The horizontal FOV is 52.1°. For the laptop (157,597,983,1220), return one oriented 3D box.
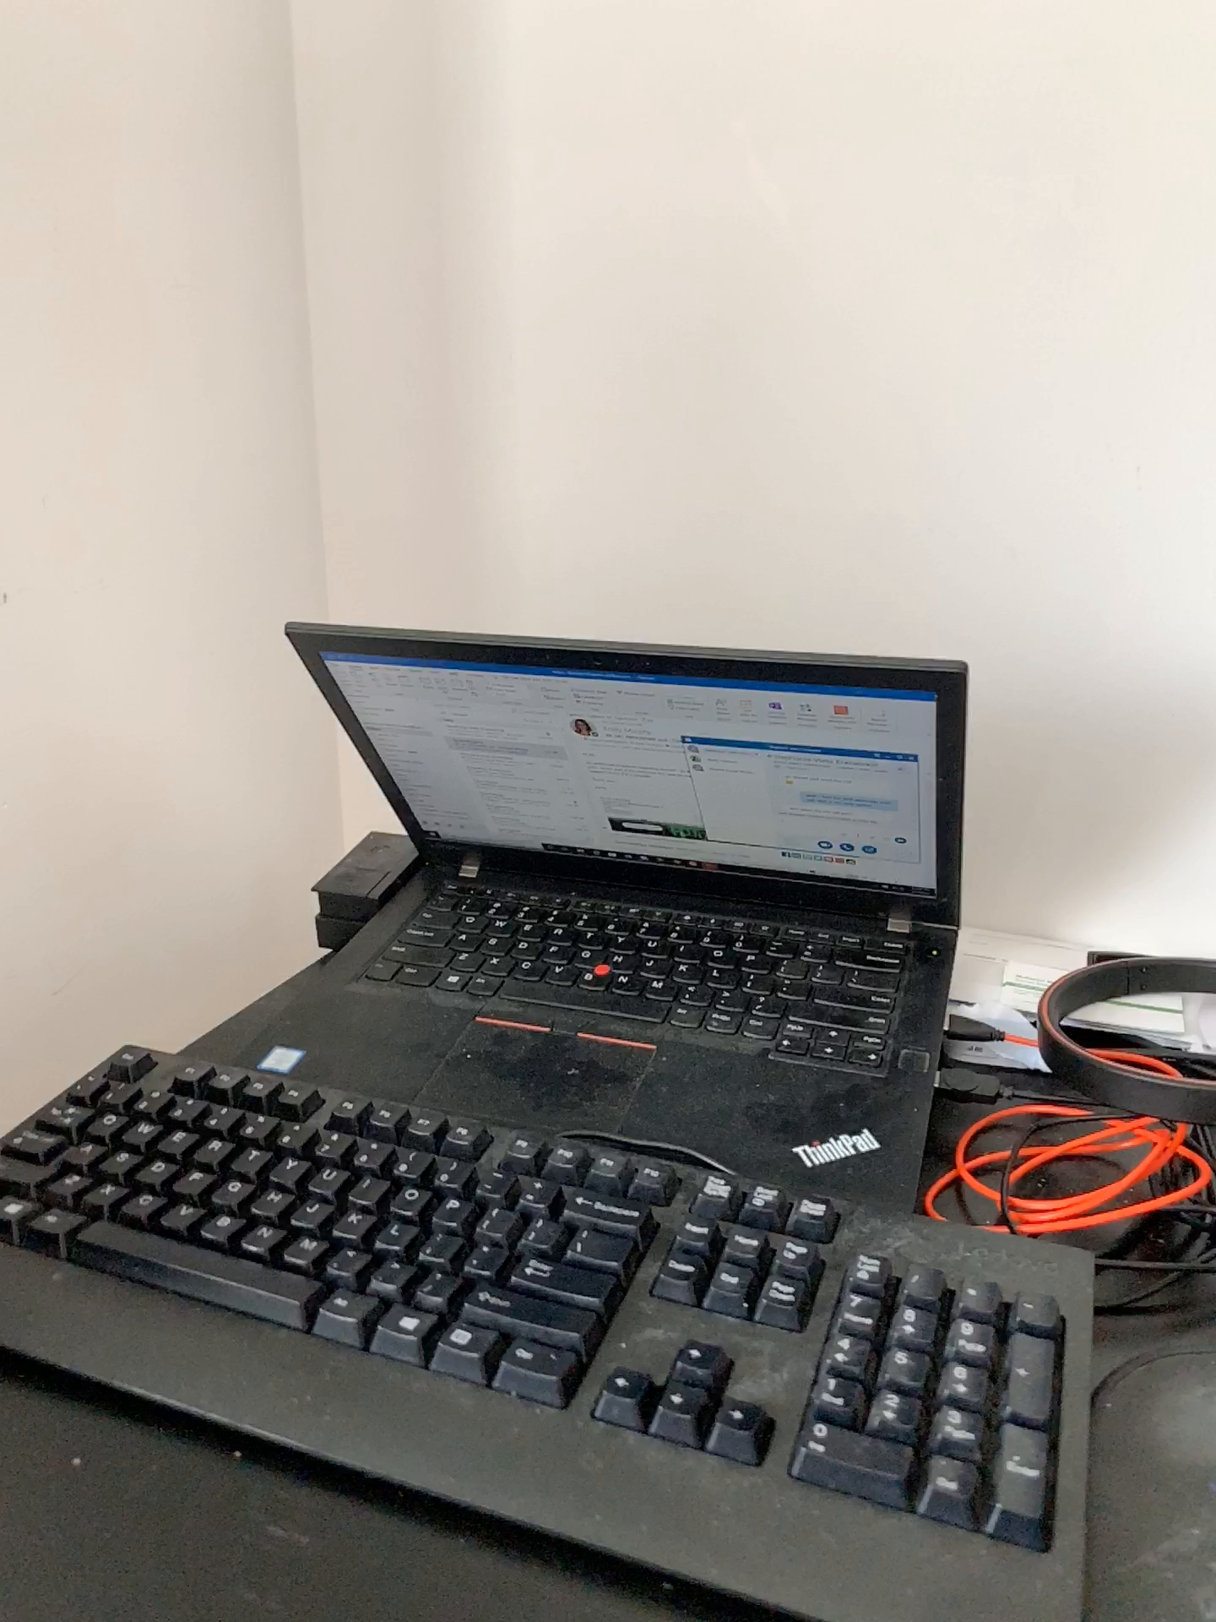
[{"bbox_3d":[-0.001,0.017,0.624,0.334,0.172,0.237,5,23,18],"label":"laptop"}]
